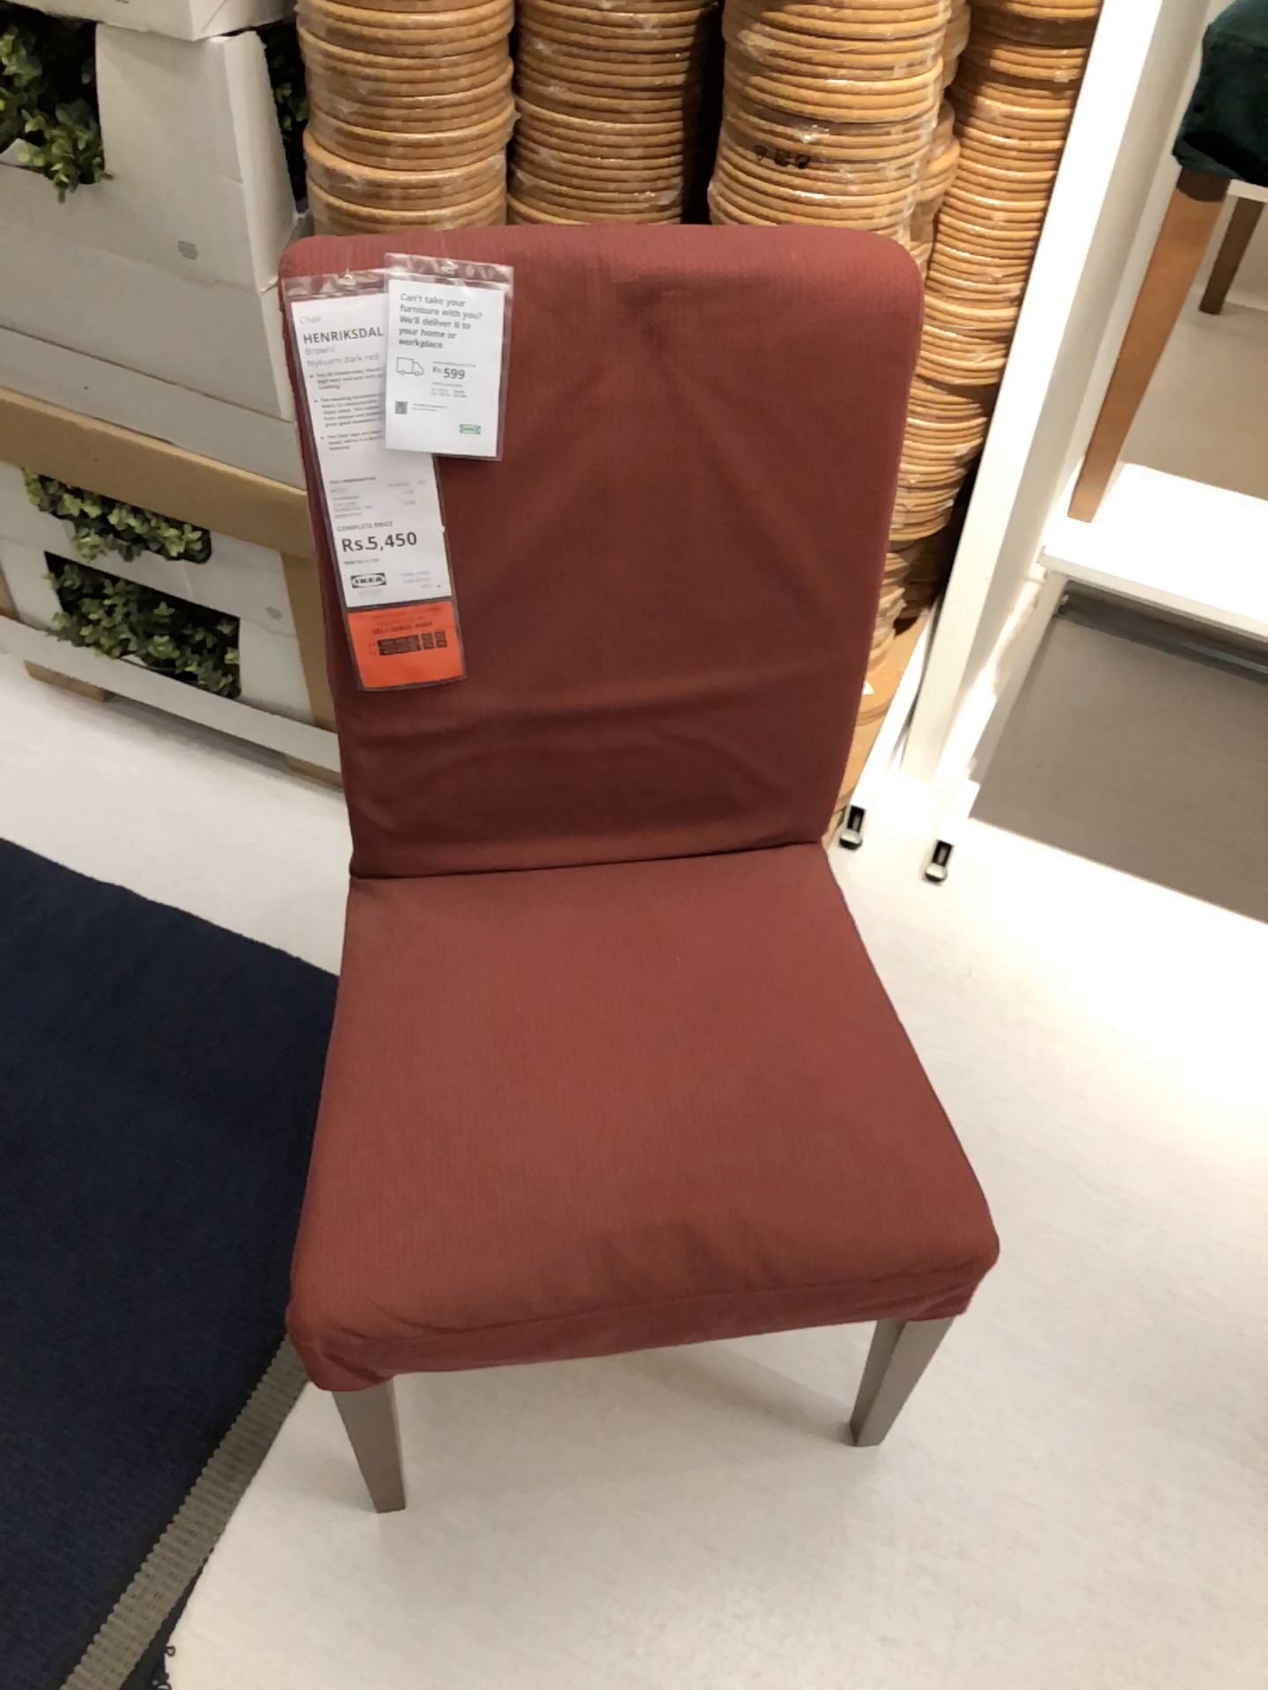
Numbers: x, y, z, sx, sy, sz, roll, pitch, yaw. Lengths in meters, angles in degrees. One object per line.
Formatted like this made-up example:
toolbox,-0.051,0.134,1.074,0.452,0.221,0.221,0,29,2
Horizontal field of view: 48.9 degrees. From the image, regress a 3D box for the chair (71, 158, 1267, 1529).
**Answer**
chair,-0.011,0.086,1.106,0.520,0.994,0.533,-4,50,-7
